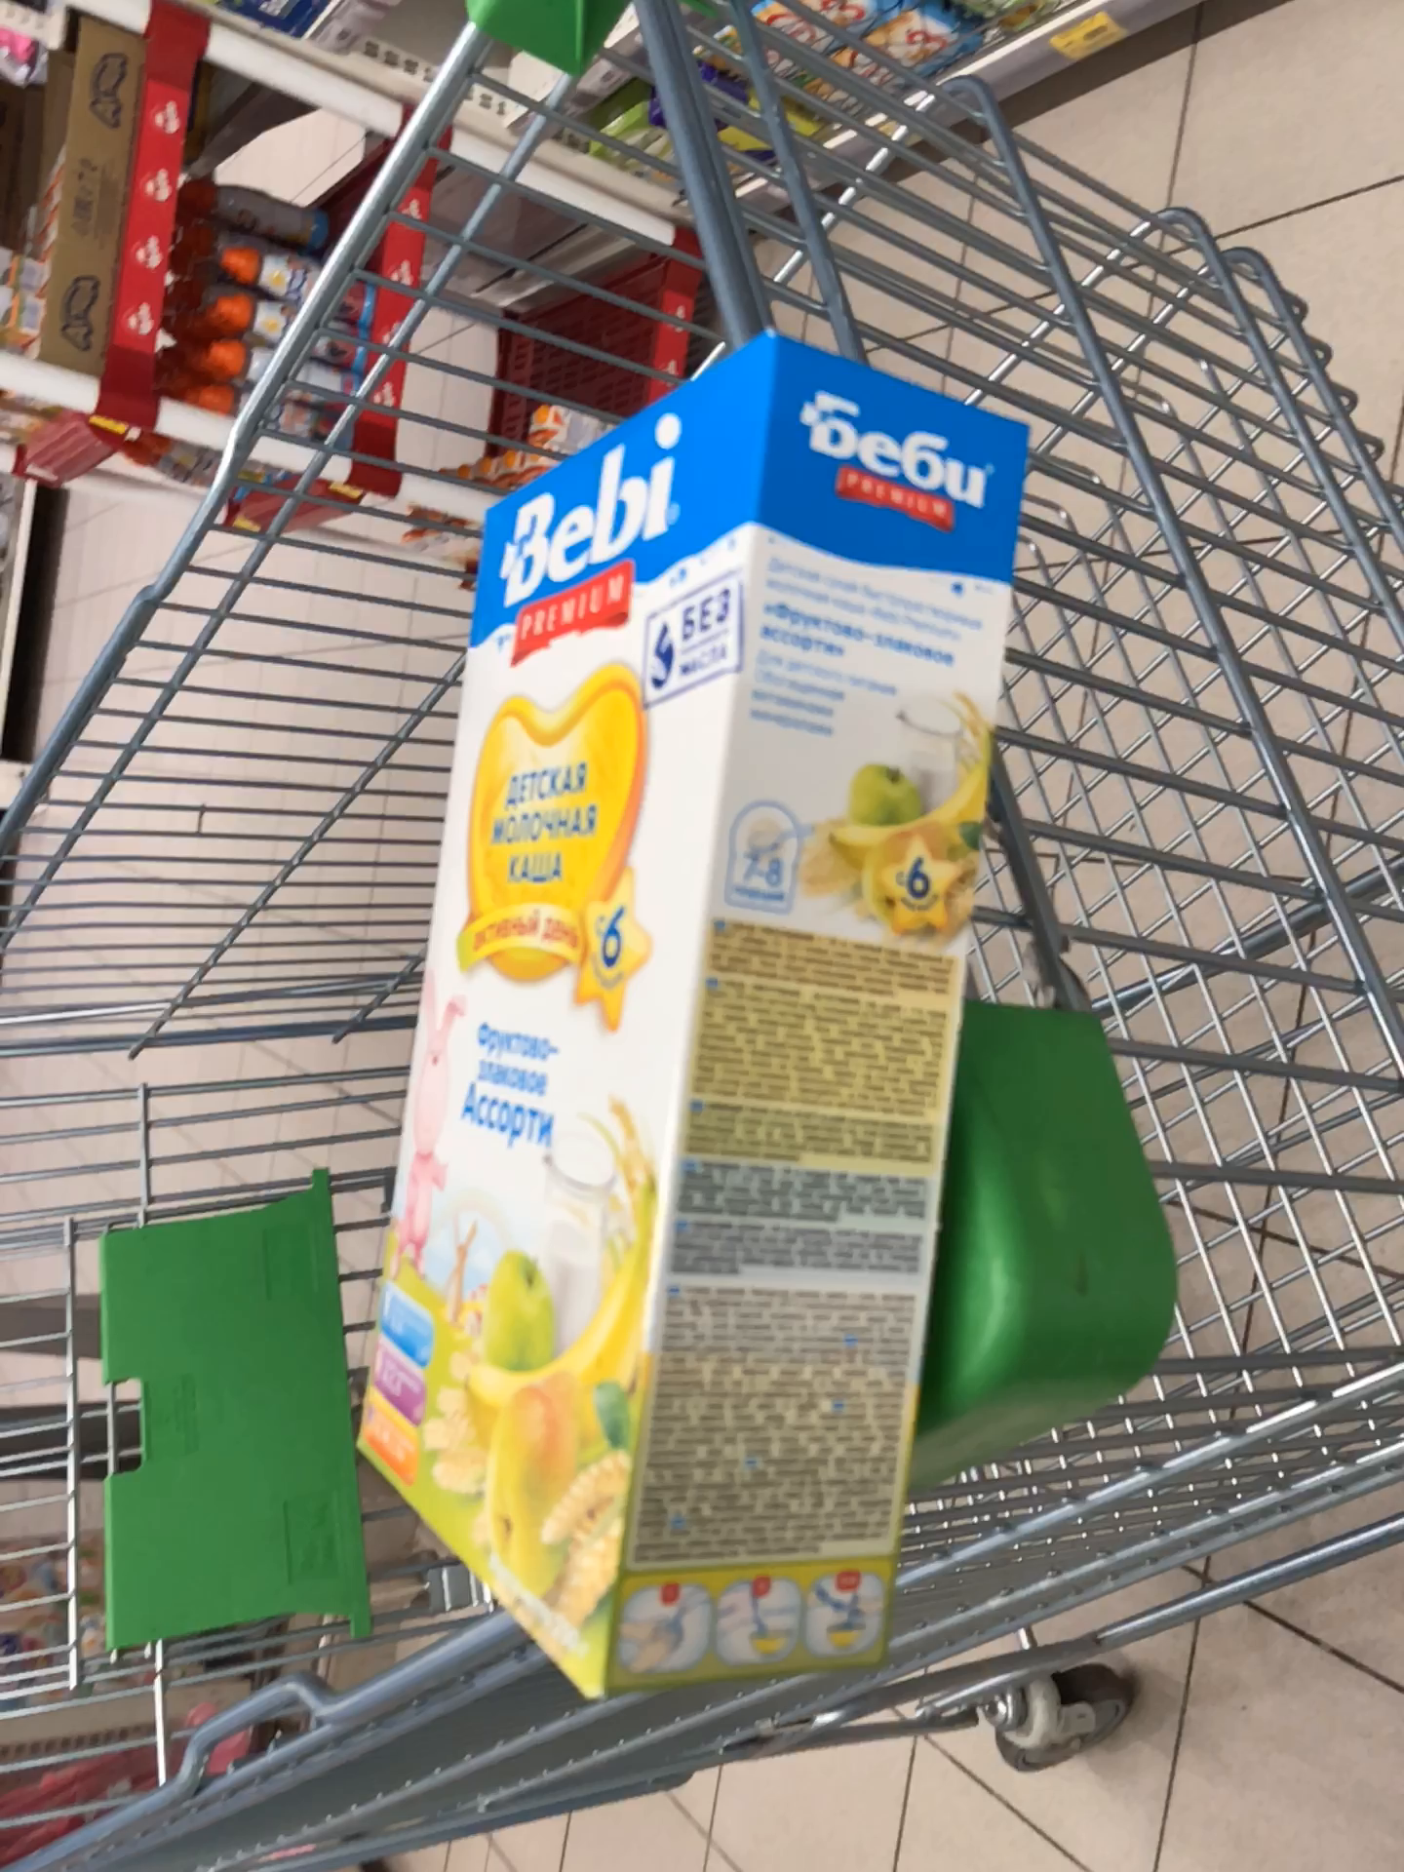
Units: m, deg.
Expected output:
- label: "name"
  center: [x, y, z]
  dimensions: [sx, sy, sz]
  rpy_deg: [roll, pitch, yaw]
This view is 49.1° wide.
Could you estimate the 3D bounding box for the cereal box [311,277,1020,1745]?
- label: "cereal box"
  center: [-0.019, 0.011, 0.296]
  dimensions: [0.151, 0.050, 0.210]
  rpy_deg: [1, 83, 63]
